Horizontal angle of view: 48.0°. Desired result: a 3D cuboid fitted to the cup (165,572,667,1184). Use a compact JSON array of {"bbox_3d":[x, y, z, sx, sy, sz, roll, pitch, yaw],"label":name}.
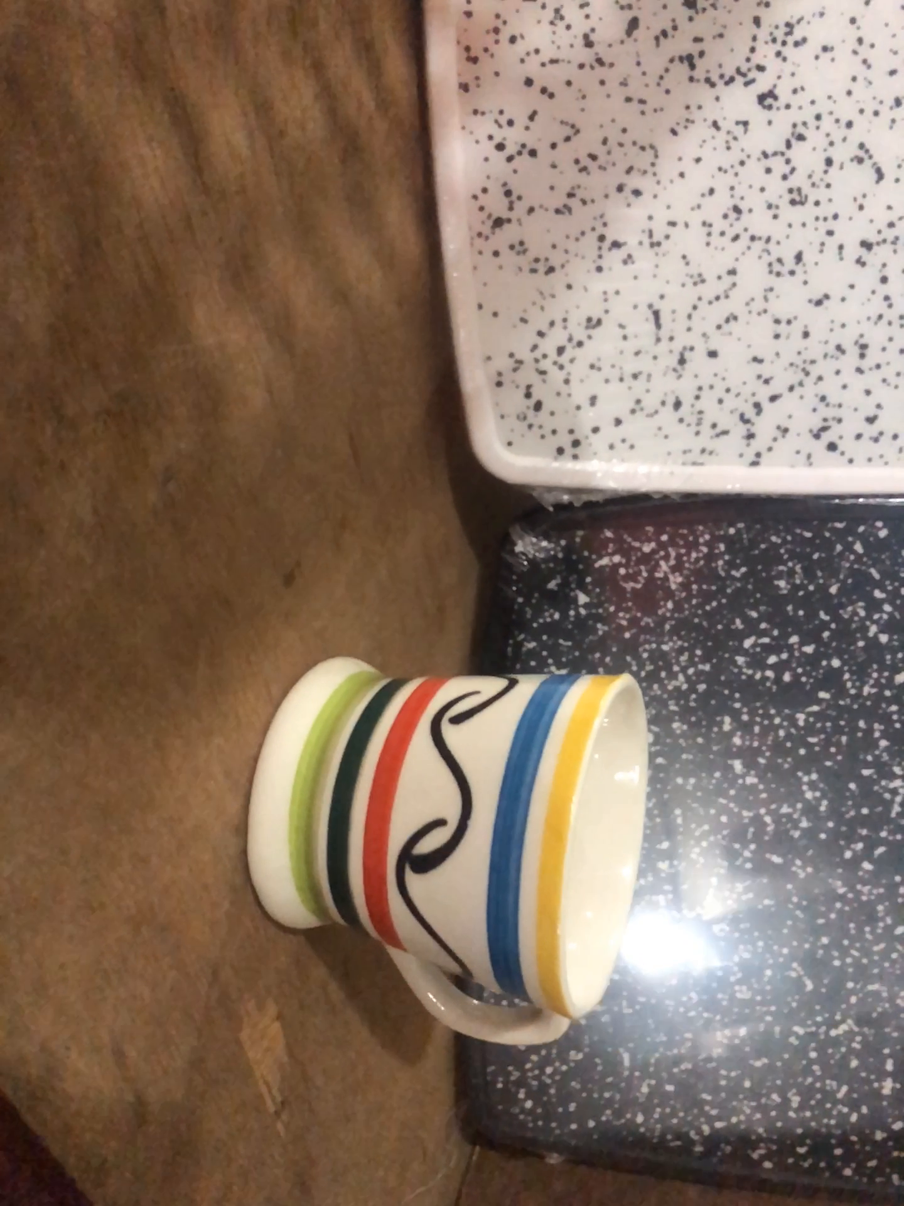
[{"bbox_3d":[0.000,0.055,0.220,0.060,0.079,0.100,-50,140,-54],"label":"cup"}]
